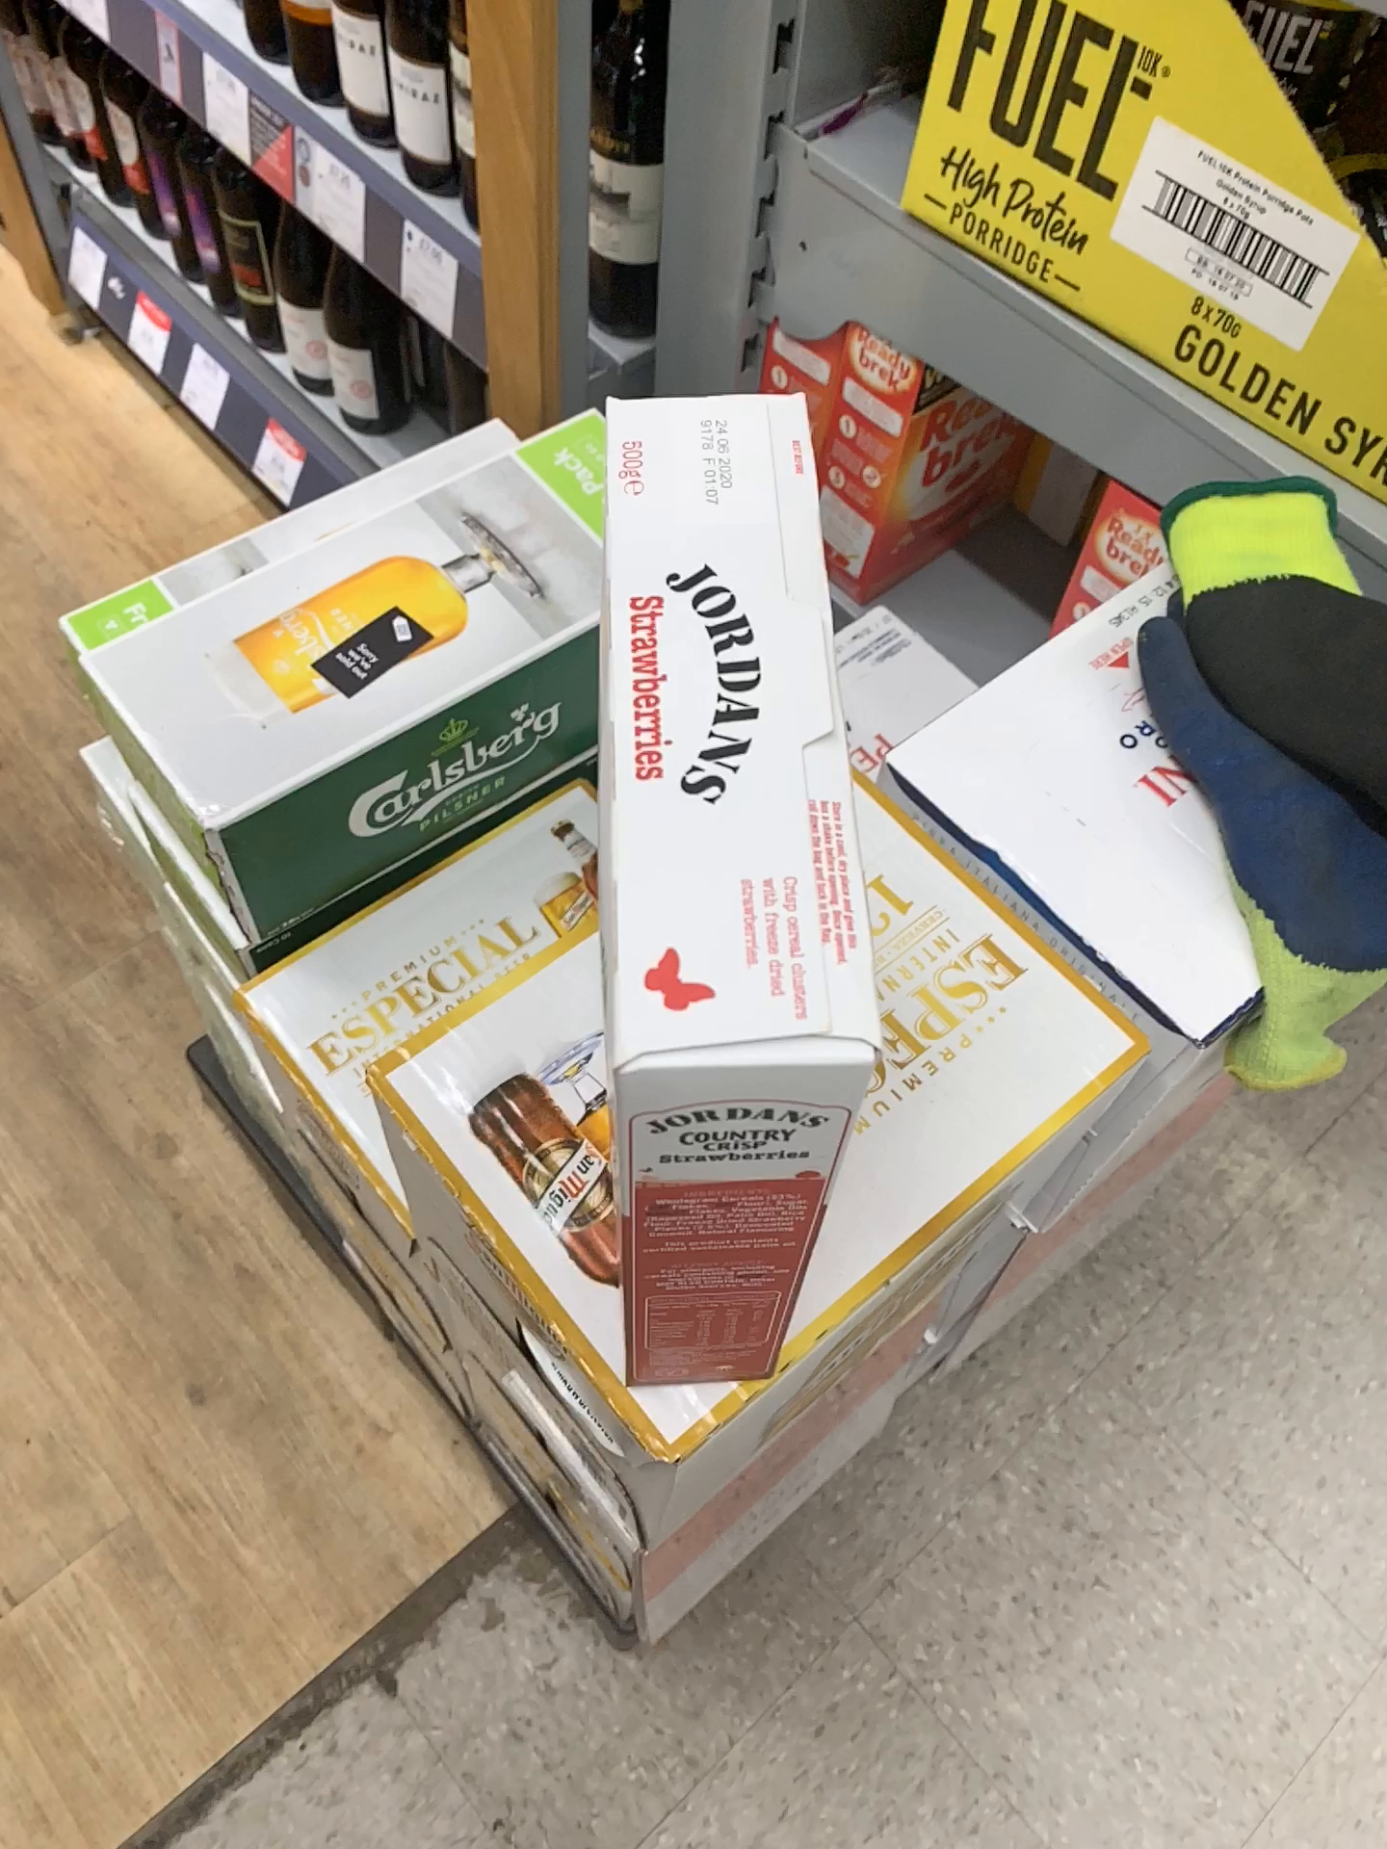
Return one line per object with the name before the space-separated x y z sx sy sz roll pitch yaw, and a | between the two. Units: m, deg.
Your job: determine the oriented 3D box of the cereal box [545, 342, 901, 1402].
cereal box | -0.001 0.007 0.395 0.060 0.248 0.191 -1 60 -2
